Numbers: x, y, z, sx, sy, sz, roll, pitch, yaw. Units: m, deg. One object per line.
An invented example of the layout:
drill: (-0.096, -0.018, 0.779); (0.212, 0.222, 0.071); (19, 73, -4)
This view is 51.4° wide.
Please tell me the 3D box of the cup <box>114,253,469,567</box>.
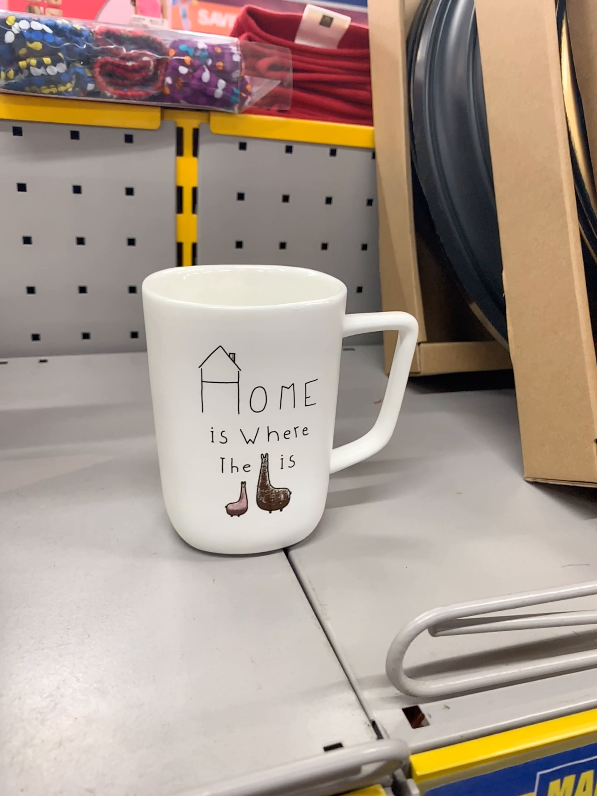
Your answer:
cup: (-0.010, -0.002, 0.255); (0.120, 0.100, 0.070); (-3, 24, -19)
